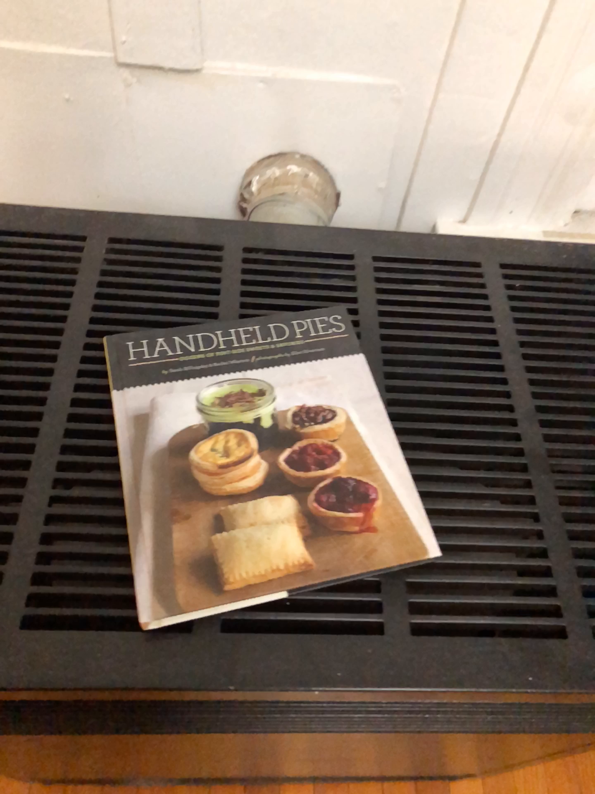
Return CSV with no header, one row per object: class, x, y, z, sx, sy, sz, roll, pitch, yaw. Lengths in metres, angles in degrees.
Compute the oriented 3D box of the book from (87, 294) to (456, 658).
book,-0.030,0.033,0.448,0.200,0.020,0.231,-10,57,-12
